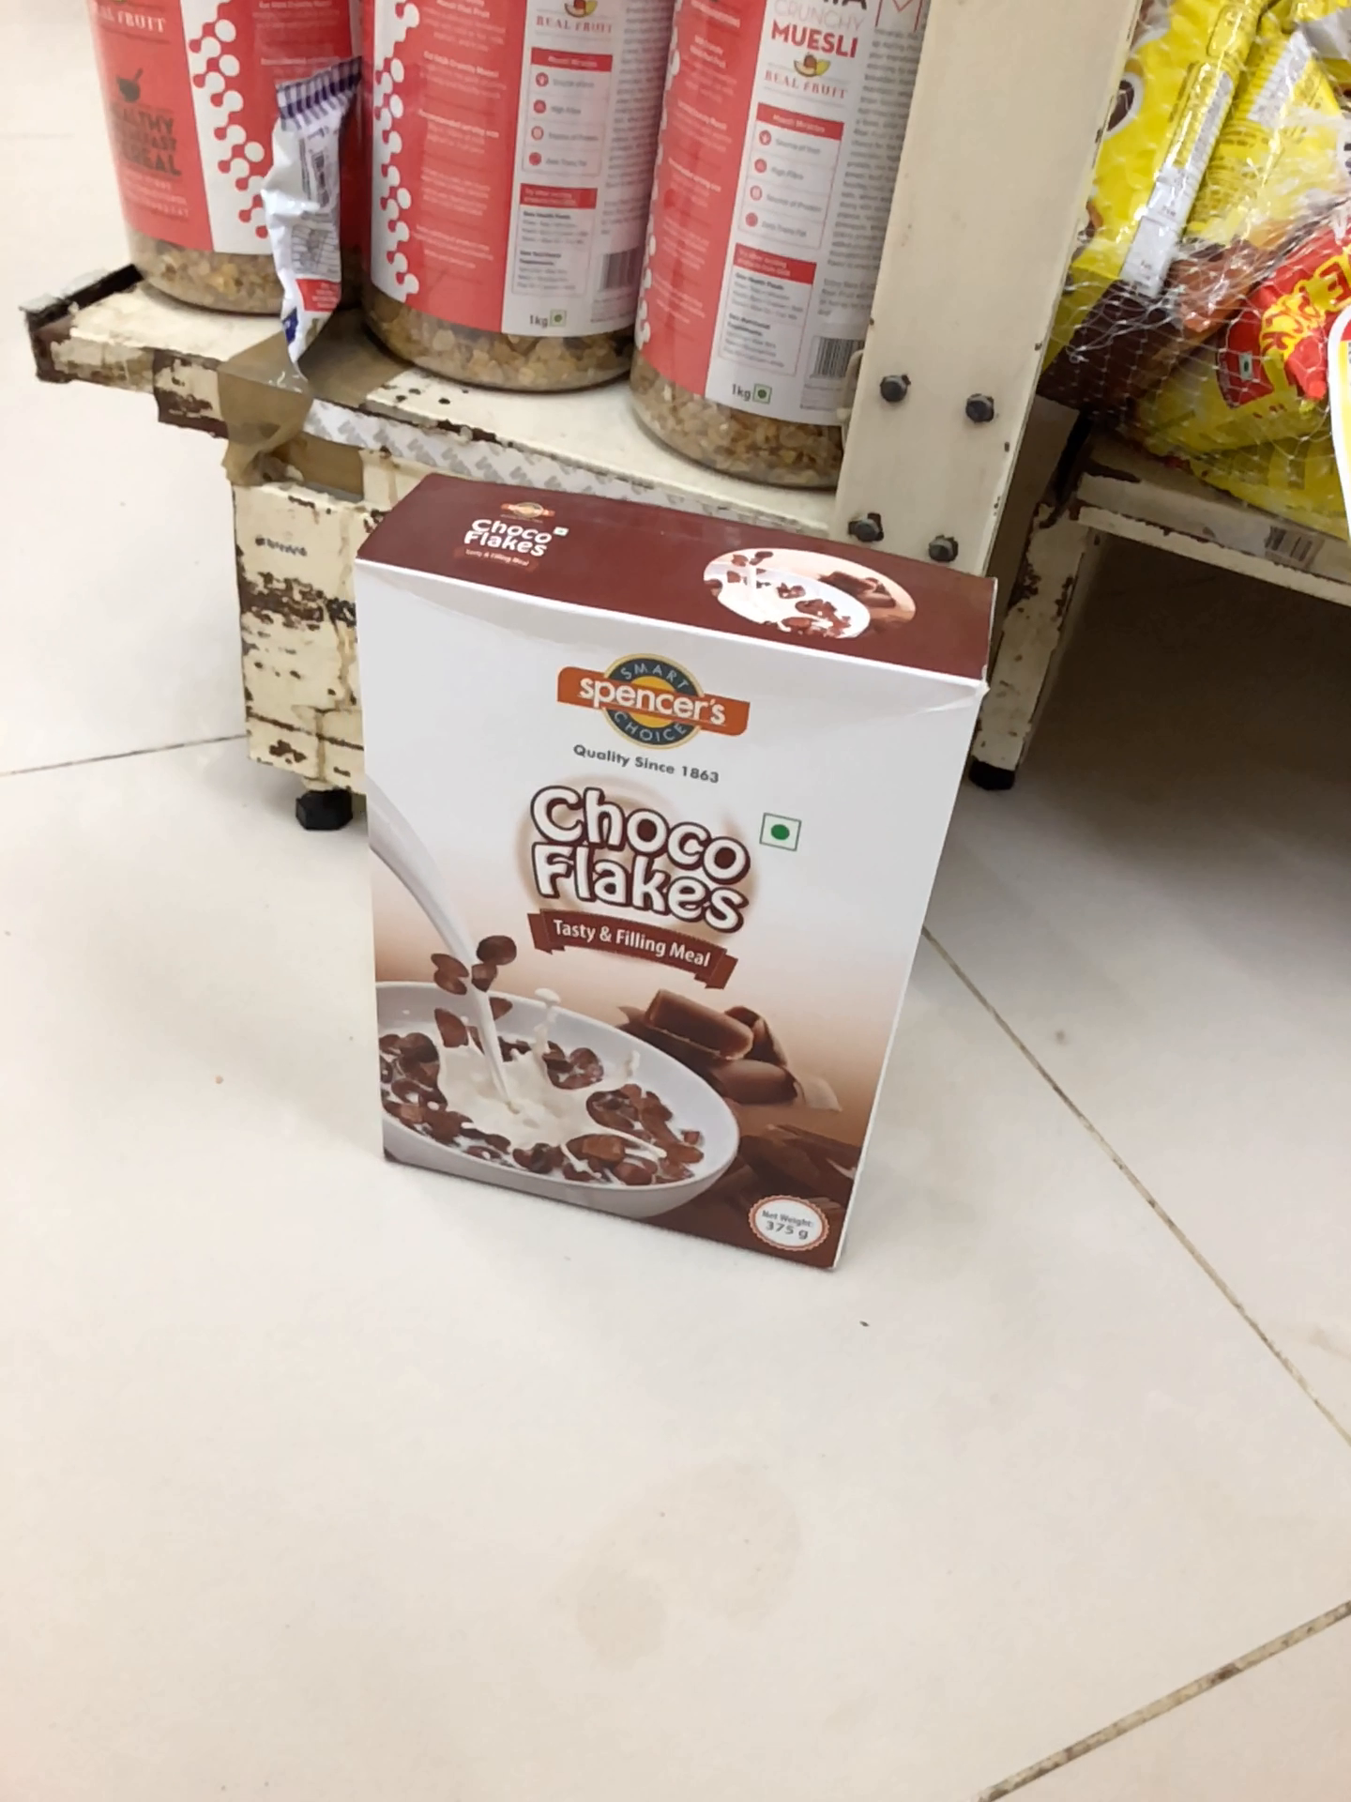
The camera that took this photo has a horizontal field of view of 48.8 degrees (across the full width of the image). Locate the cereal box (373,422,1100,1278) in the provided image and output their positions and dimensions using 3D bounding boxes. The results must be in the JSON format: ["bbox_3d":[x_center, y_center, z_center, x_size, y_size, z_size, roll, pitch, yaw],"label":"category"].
[{"bbox_3d":[0.009,-0.004,0.486,0.190,0.258,0.060,12,40,8],"label":"cereal box"}]
